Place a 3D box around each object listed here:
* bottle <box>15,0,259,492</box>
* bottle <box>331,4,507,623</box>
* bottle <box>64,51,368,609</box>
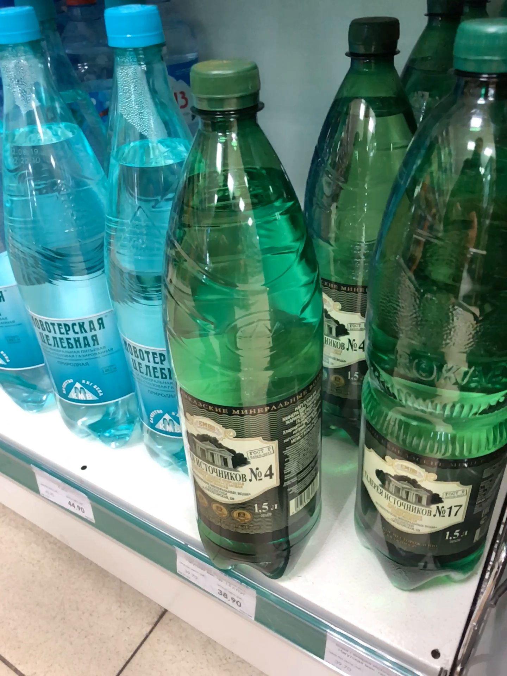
[{"bbox_3d":[-0.059,-0.041,0.390,0.084,0.326,0.077,-2,37,2],"label":"bottle"},{"bbox_3d":[0.107,0.014,0.303,0.091,0.326,0.082,18,42,27],"label":"bottle"},{"bbox_3d":[-0.006,0.016,0.324,0.091,0.308,0.088,-2,37,2],"label":"bottle"}]
